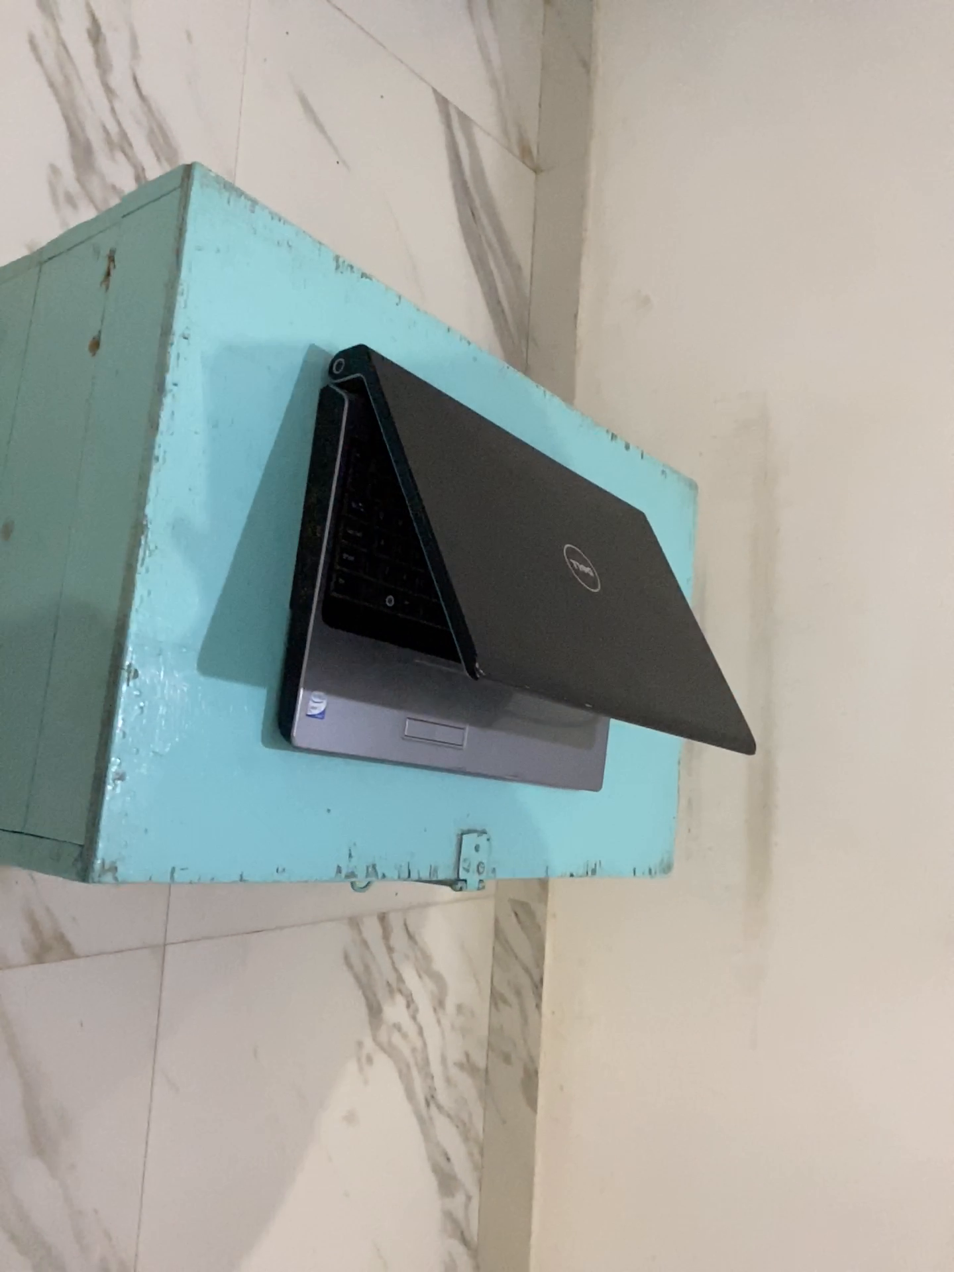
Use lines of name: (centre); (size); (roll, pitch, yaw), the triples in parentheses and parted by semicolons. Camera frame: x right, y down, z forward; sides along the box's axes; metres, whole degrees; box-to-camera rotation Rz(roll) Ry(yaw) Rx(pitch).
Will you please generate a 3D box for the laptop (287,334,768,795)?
laptop: (0.069, -0.021, 0.774); (0.390, 0.152, 0.261); (16, 77, -49)
